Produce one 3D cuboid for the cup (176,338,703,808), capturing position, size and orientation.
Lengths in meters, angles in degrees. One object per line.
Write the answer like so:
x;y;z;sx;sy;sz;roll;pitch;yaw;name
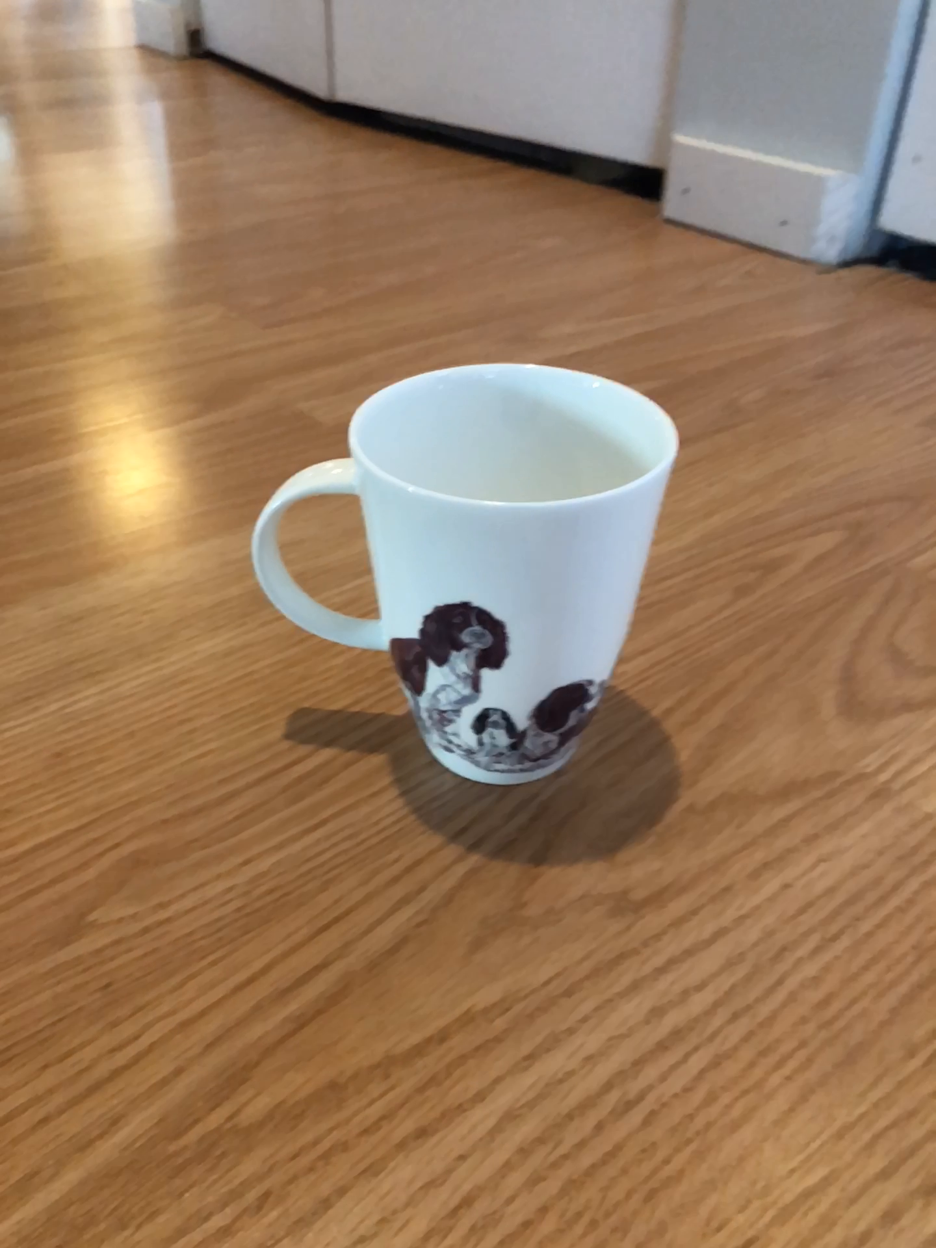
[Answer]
-0.003;-0.018;0.297;0.120;0.090;0.090;5;36;5;cup
